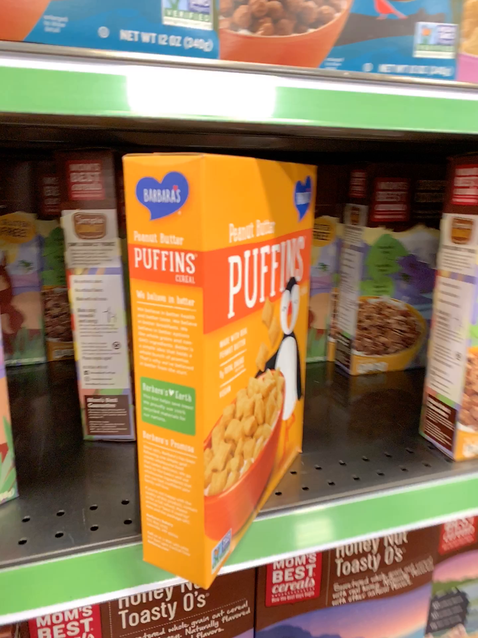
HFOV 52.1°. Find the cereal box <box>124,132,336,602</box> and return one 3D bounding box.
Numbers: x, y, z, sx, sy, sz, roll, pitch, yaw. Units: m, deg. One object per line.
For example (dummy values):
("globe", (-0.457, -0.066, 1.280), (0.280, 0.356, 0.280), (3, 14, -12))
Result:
("cereal box", (0.011, 0.014, 0.384), (0.060, 0.279, 0.221), (7, 16, 24))
